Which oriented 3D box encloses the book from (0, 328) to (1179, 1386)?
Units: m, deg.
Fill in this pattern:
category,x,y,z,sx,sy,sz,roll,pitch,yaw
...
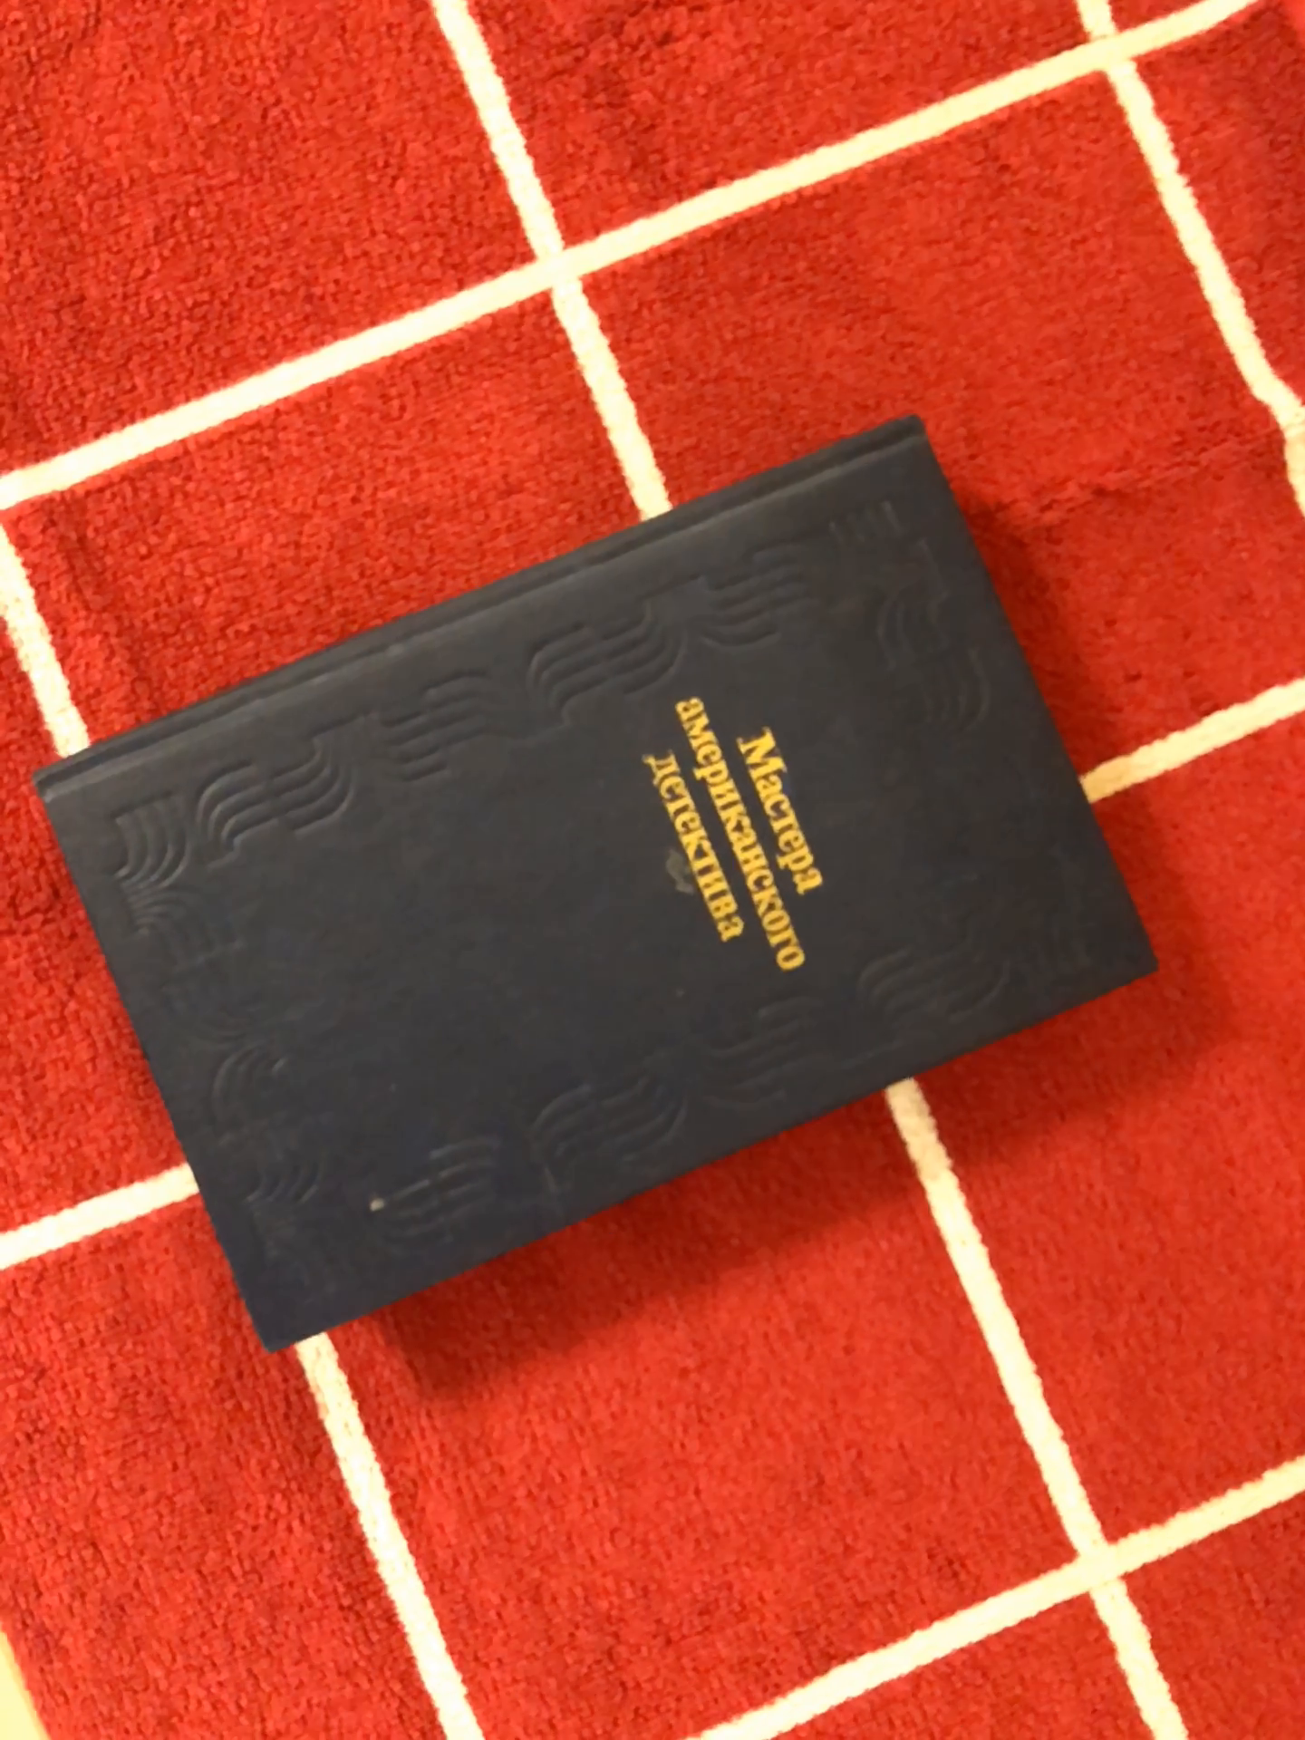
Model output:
category,x,y,z,sx,sy,sz,roll,pitch,yaw
book,-0.014,-0.004,0.299,0.193,0.030,0.143,-23,88,-3
